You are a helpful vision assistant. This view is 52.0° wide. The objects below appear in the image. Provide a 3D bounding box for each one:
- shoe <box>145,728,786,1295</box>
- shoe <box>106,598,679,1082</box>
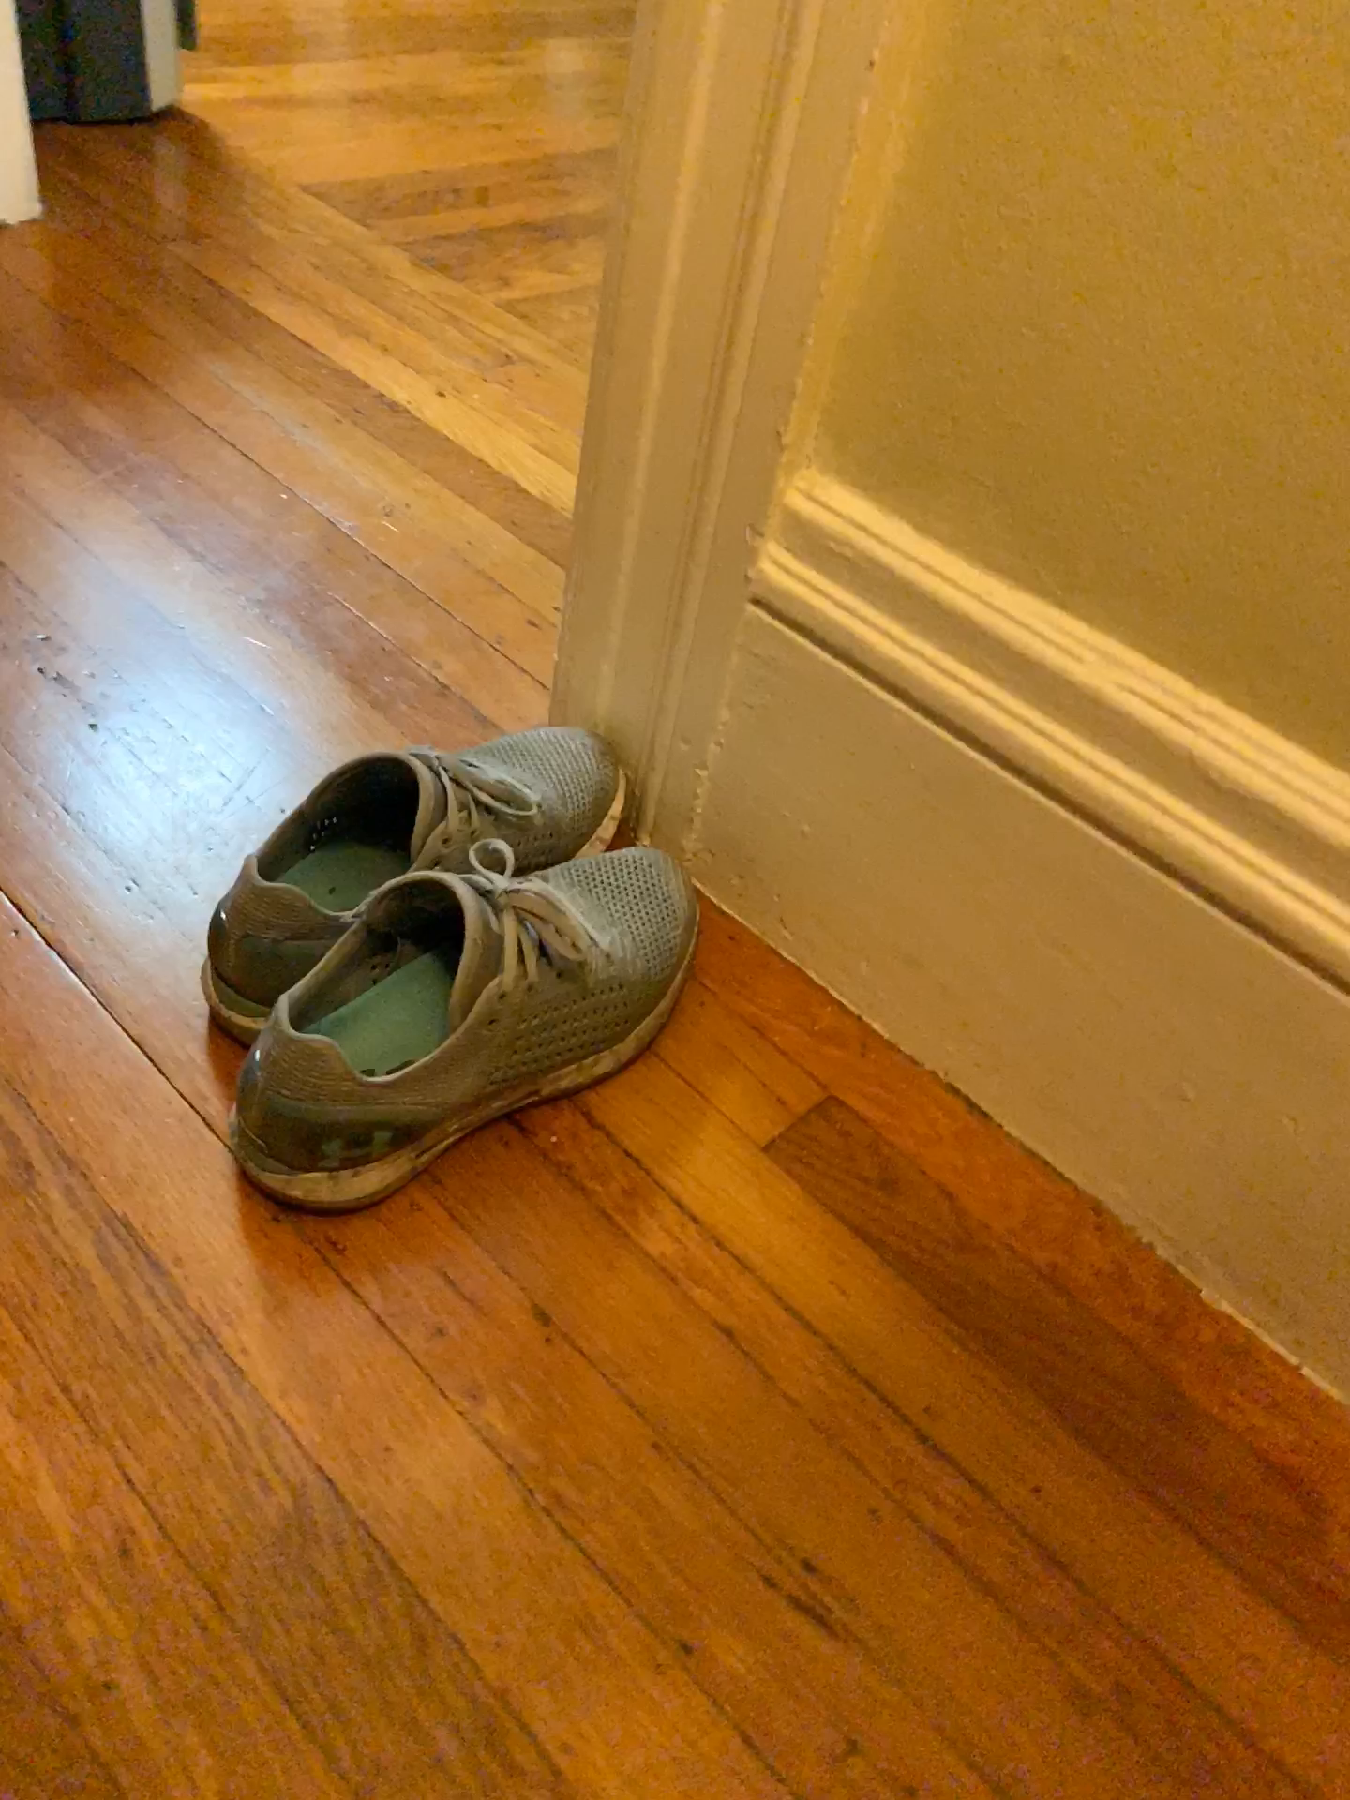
[{"bbox_3d":[-0.083,0.035,0.626,0.110,0.090,0.271,36,48,23],"label":"shoe"},{"bbox_3d":[-0.124,-0.042,0.668,0.110,0.080,0.261,32,46,19],"label":"shoe"}]
